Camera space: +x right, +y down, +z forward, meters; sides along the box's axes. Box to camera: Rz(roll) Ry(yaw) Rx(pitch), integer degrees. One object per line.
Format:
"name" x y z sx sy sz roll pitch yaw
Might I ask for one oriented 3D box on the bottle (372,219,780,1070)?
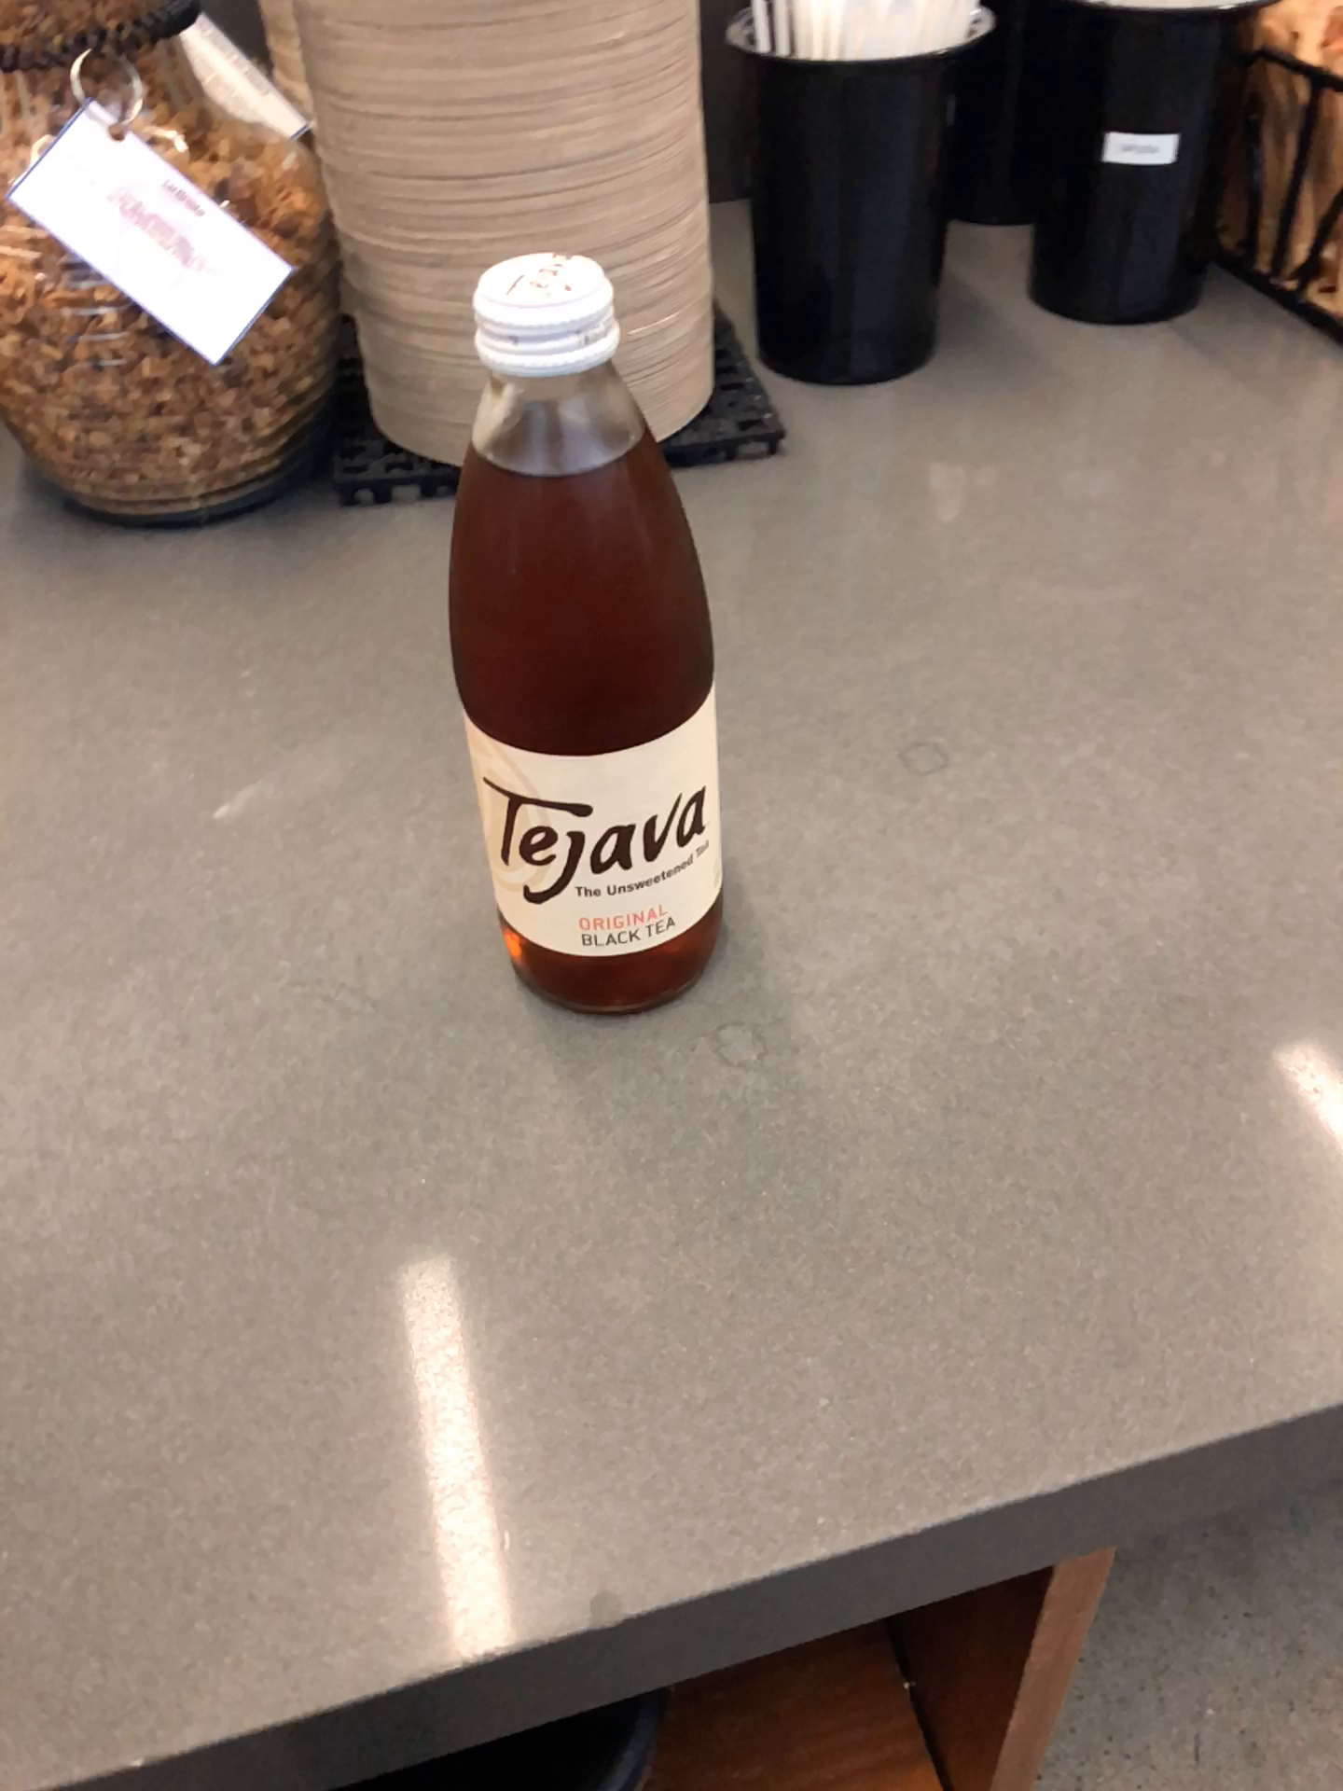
"bottle" -0.018 -0.052 0.368 0.070 0.189 0.070 -2 43 2
